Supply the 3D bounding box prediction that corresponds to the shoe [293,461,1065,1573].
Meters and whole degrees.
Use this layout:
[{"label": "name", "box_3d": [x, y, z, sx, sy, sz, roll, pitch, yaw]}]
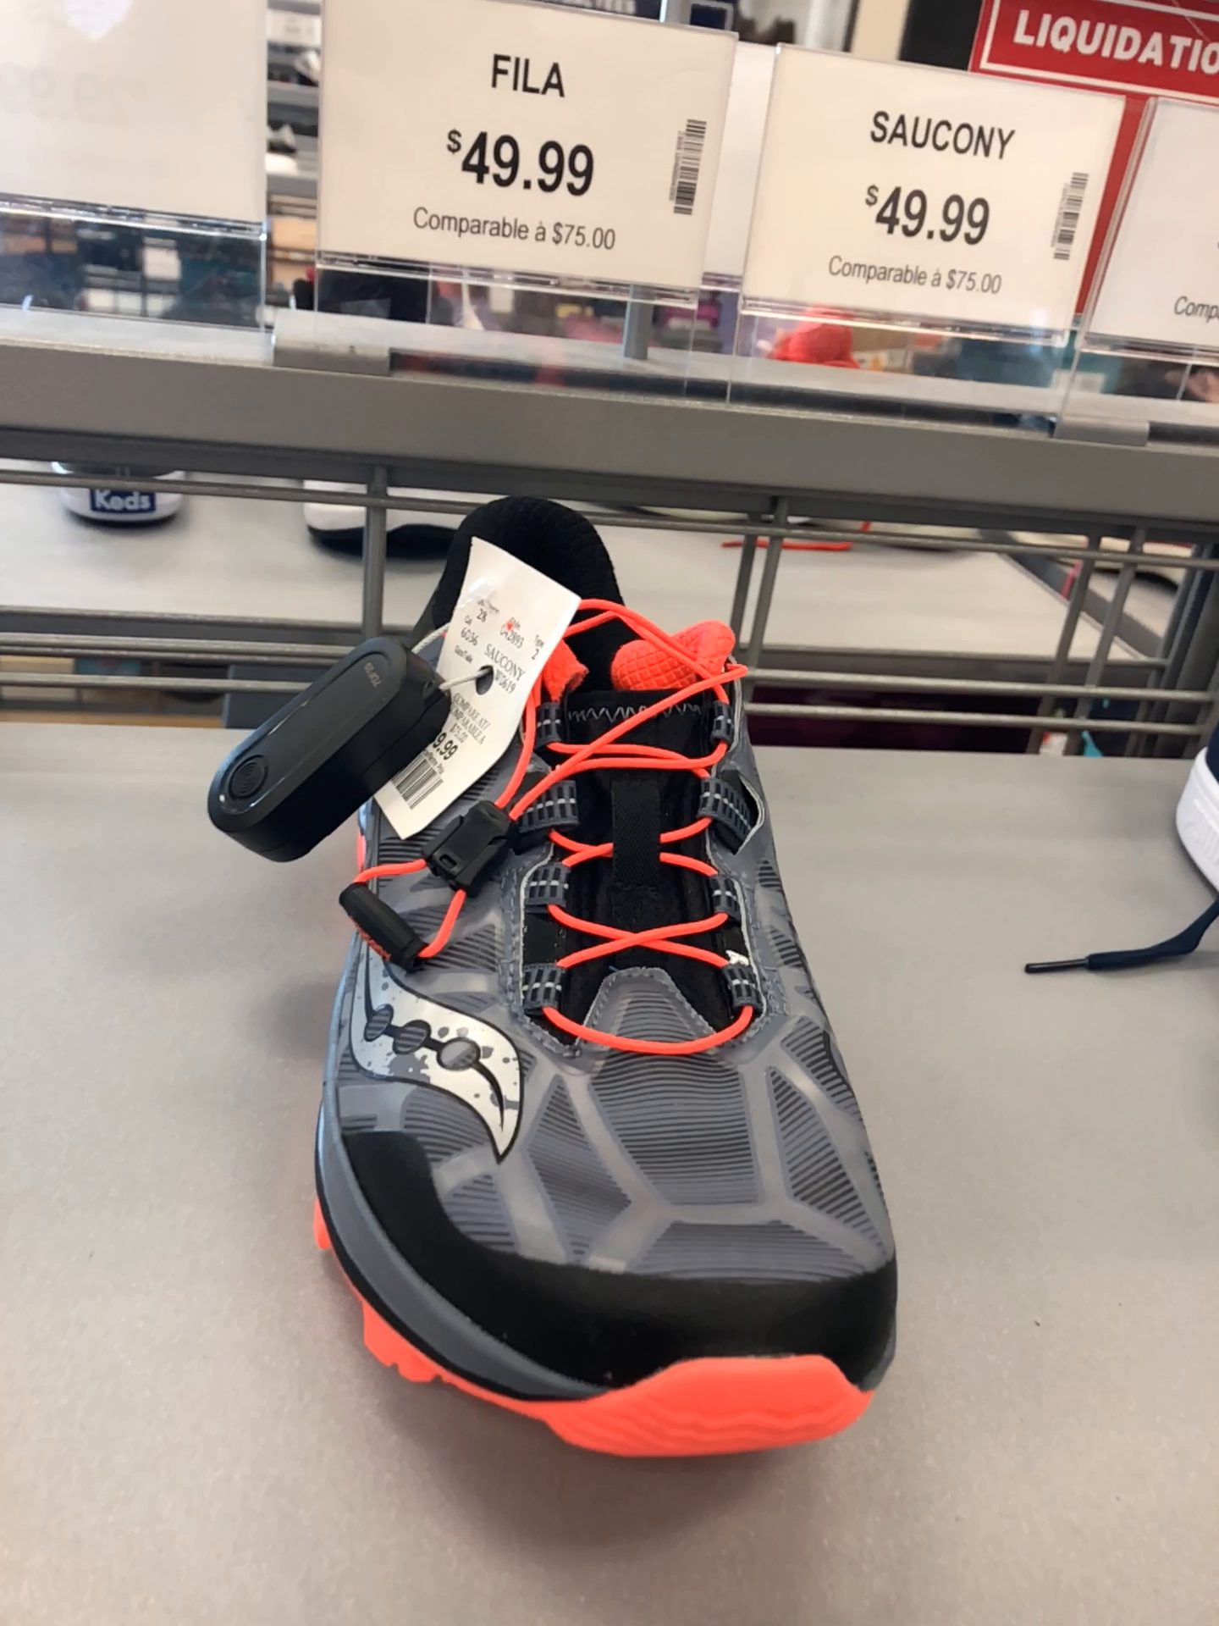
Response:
[{"label": "shoe", "box_3d": [-0.021, 0.009, 0.339, 0.110, 0.109, 0.292, 1, 29, -14]}]
